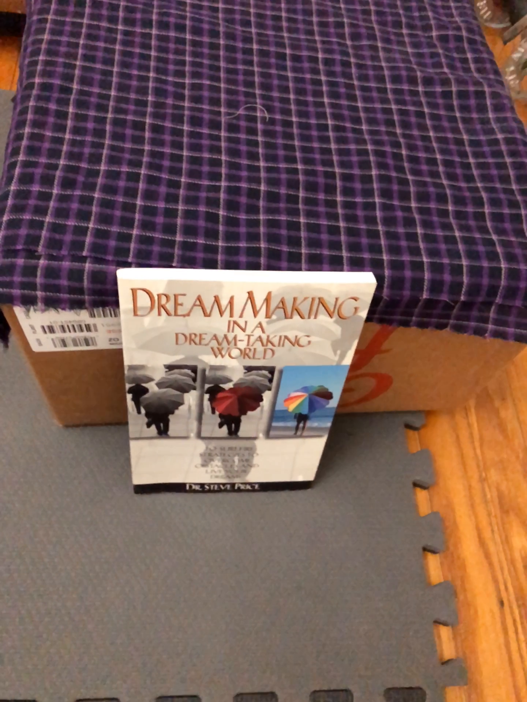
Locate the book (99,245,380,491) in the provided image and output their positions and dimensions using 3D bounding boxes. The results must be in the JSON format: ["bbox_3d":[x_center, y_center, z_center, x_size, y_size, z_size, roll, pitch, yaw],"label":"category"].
[{"bbox_3d":[-0.022,0.028,0.395,0.150,0.219,0.020,2,46,-6],"label":"book"}]
